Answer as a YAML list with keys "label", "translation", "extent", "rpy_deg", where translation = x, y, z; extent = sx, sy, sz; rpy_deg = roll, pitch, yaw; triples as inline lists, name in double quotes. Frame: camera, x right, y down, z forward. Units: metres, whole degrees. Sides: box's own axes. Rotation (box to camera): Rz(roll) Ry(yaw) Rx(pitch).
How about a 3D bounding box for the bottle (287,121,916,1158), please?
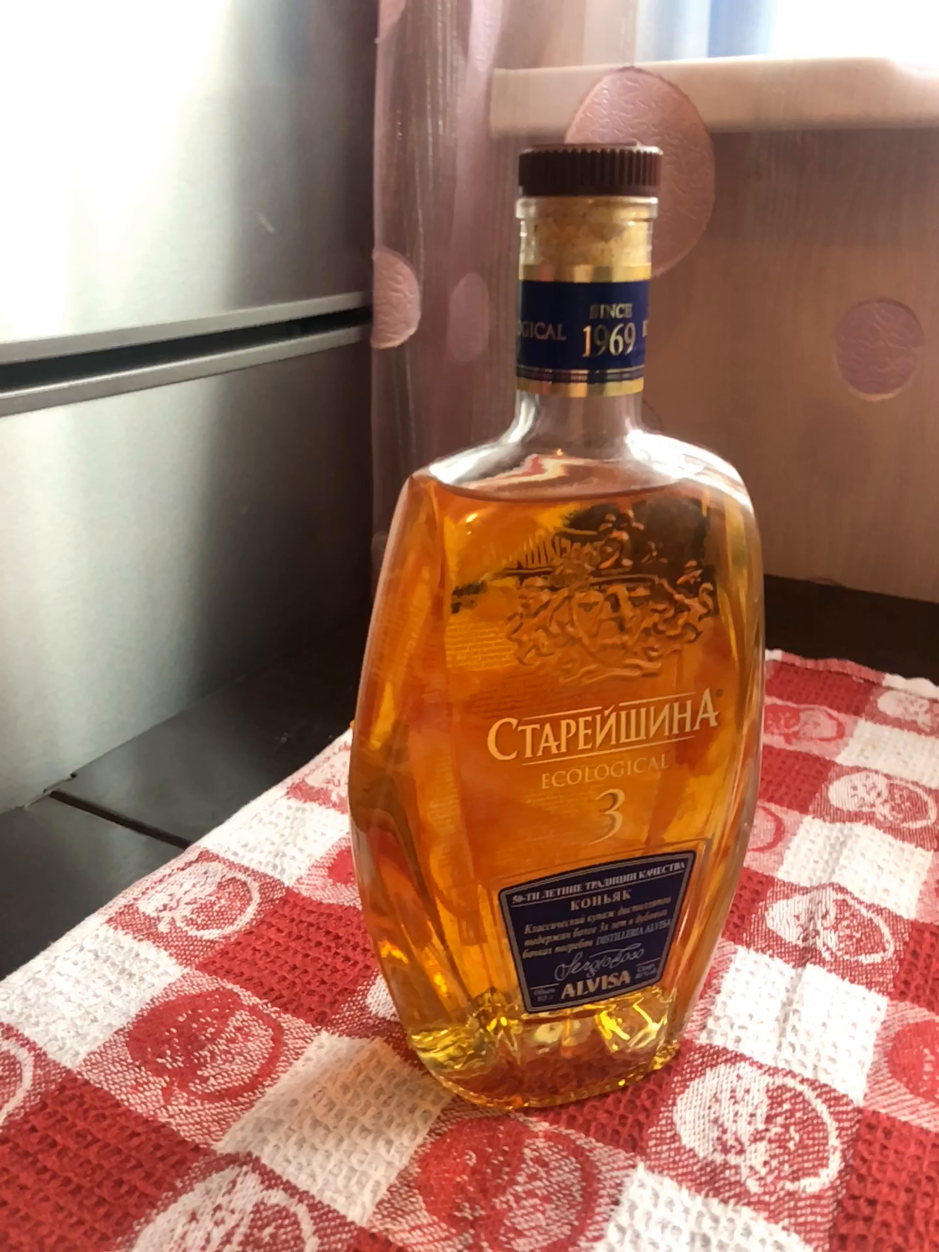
- label: "bottle"
  translation: [0.022, 0.008, 0.241]
  extent: [0.110, 0.219, 0.050]
  rpy_deg: [-5, 22, -15]
